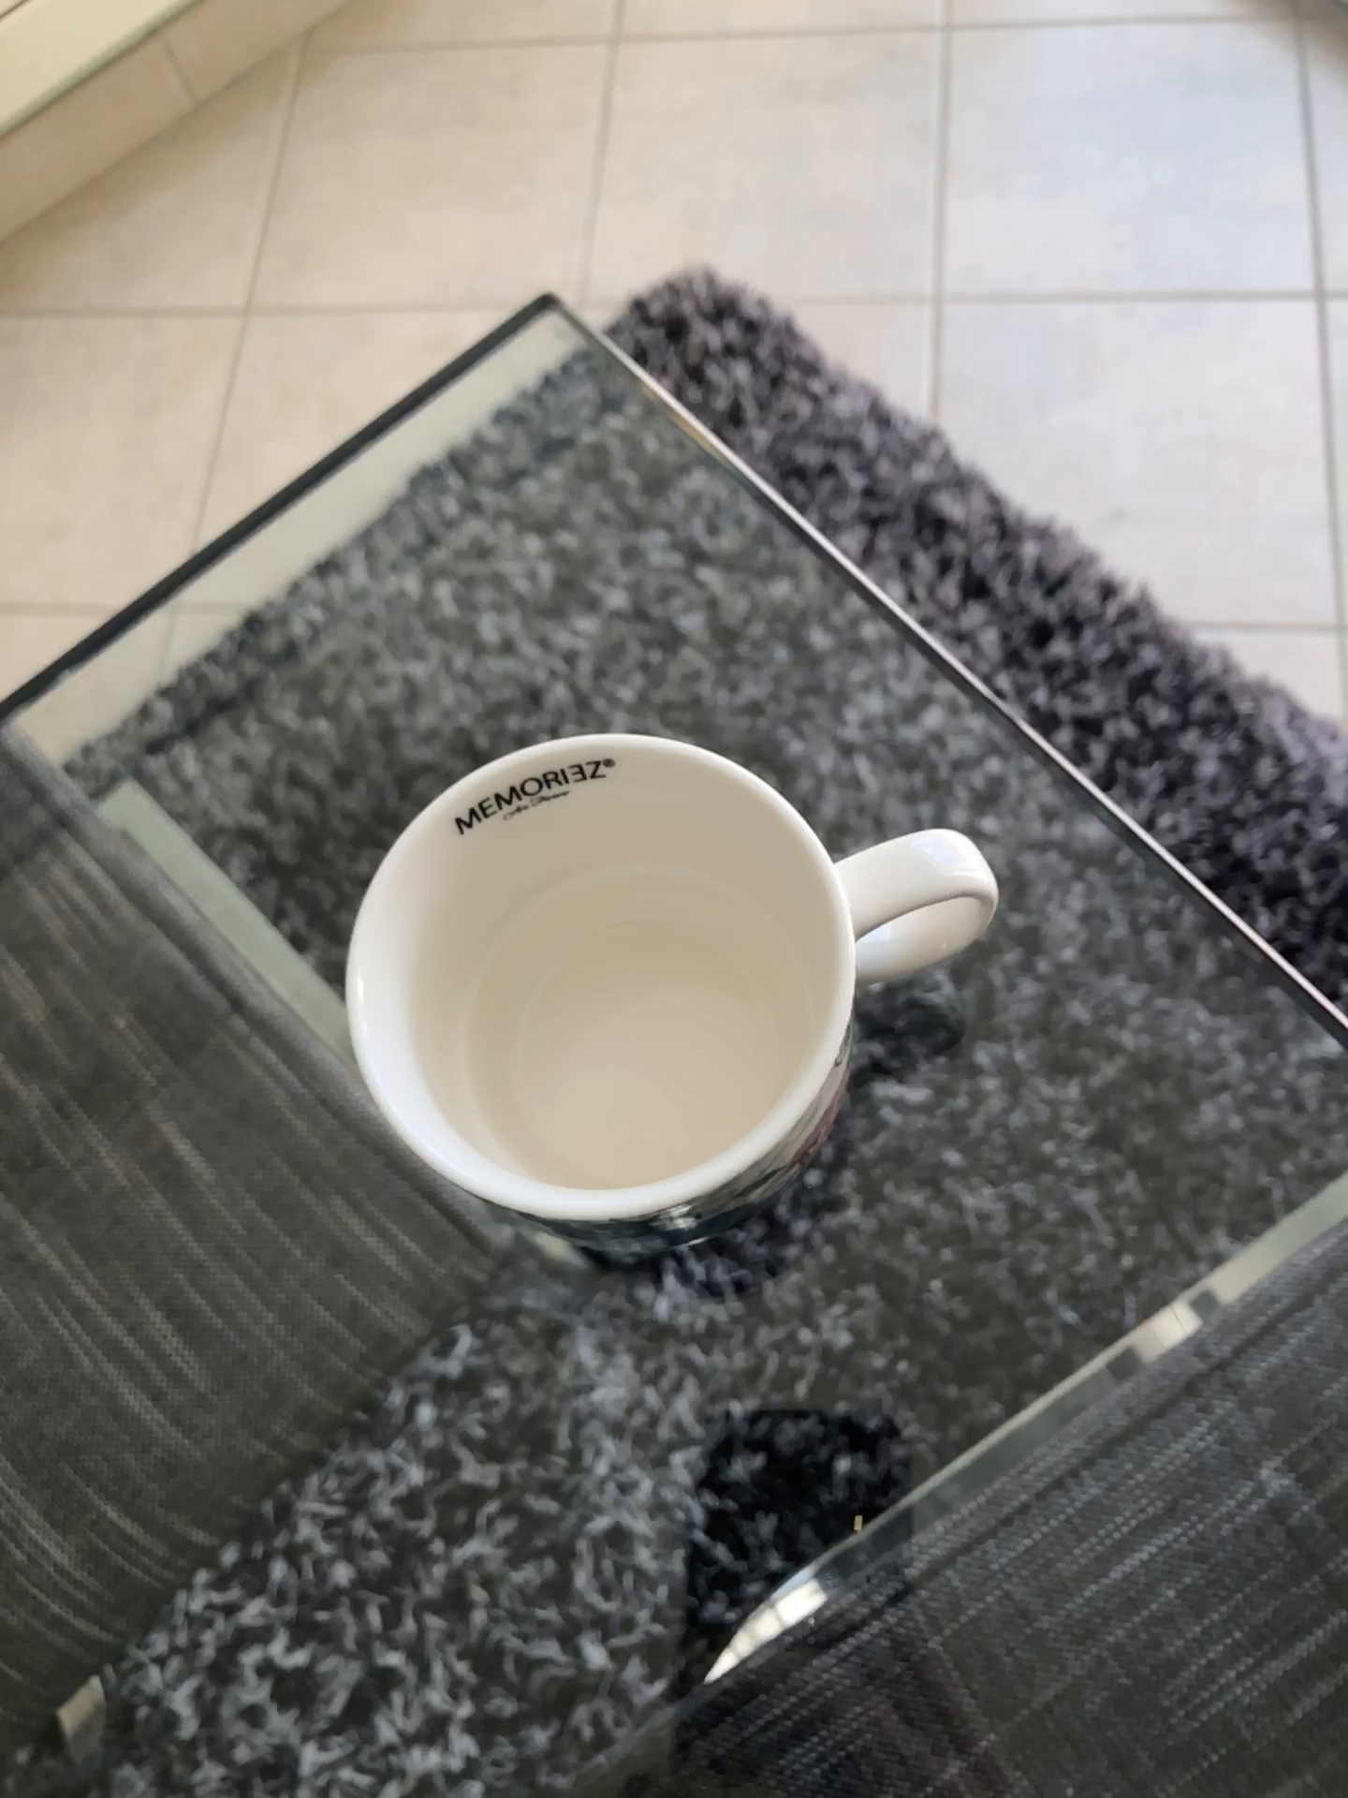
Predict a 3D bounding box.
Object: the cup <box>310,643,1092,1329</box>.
[{"bbox_3d":[0.003,0.016,0.221,0.090,0.050,0.070,-14,69,2],"label":"cup"}]
